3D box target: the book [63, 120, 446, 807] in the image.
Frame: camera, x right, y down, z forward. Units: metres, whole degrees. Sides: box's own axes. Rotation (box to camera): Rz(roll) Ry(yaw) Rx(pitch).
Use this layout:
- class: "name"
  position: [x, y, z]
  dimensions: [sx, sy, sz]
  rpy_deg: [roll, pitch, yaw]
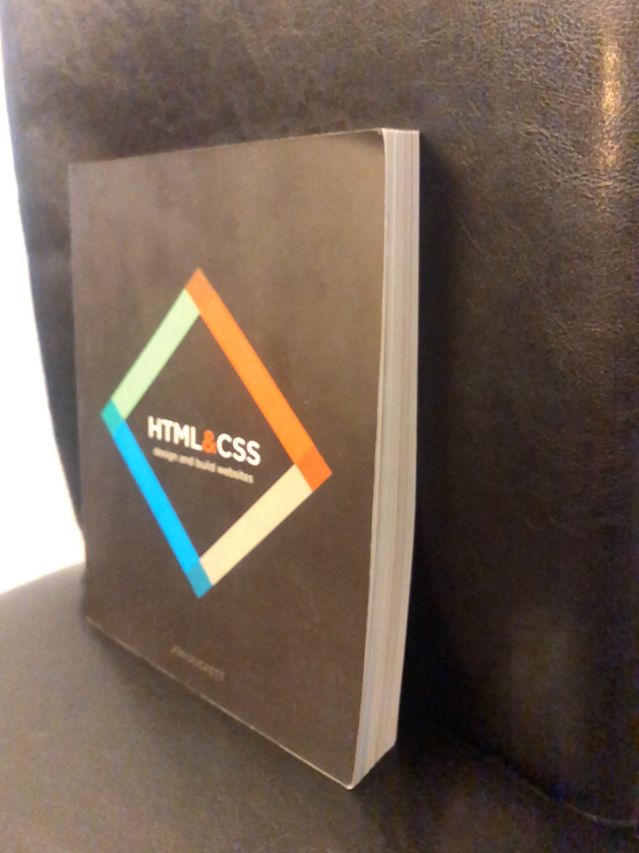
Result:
- class: "book"
  position: [-0.042, 0.006, 0.307]
  dimensions: [0.189, 0.231, 0.030]
  rpy_deg: [12, 15, 40]
